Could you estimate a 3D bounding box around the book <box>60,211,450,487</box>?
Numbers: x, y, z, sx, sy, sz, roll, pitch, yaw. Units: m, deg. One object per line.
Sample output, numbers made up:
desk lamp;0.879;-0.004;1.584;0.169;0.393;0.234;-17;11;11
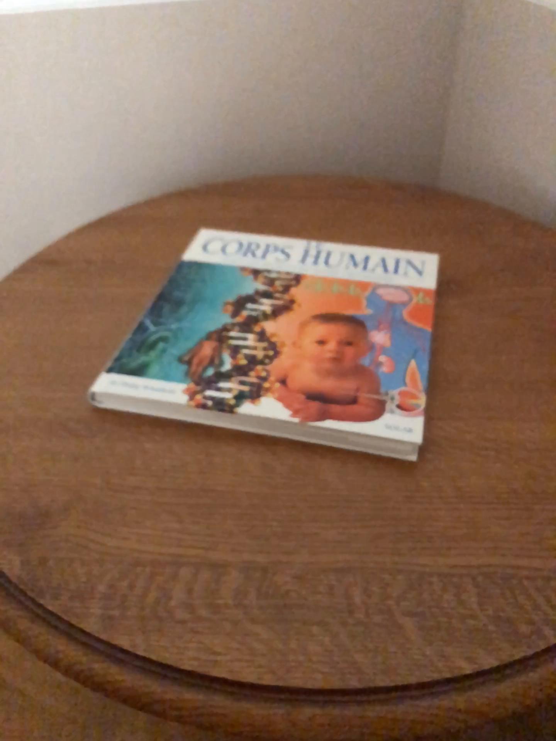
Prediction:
book;0.006;-0.046;0.554;0.270;0.040;0.292;8;42;11
